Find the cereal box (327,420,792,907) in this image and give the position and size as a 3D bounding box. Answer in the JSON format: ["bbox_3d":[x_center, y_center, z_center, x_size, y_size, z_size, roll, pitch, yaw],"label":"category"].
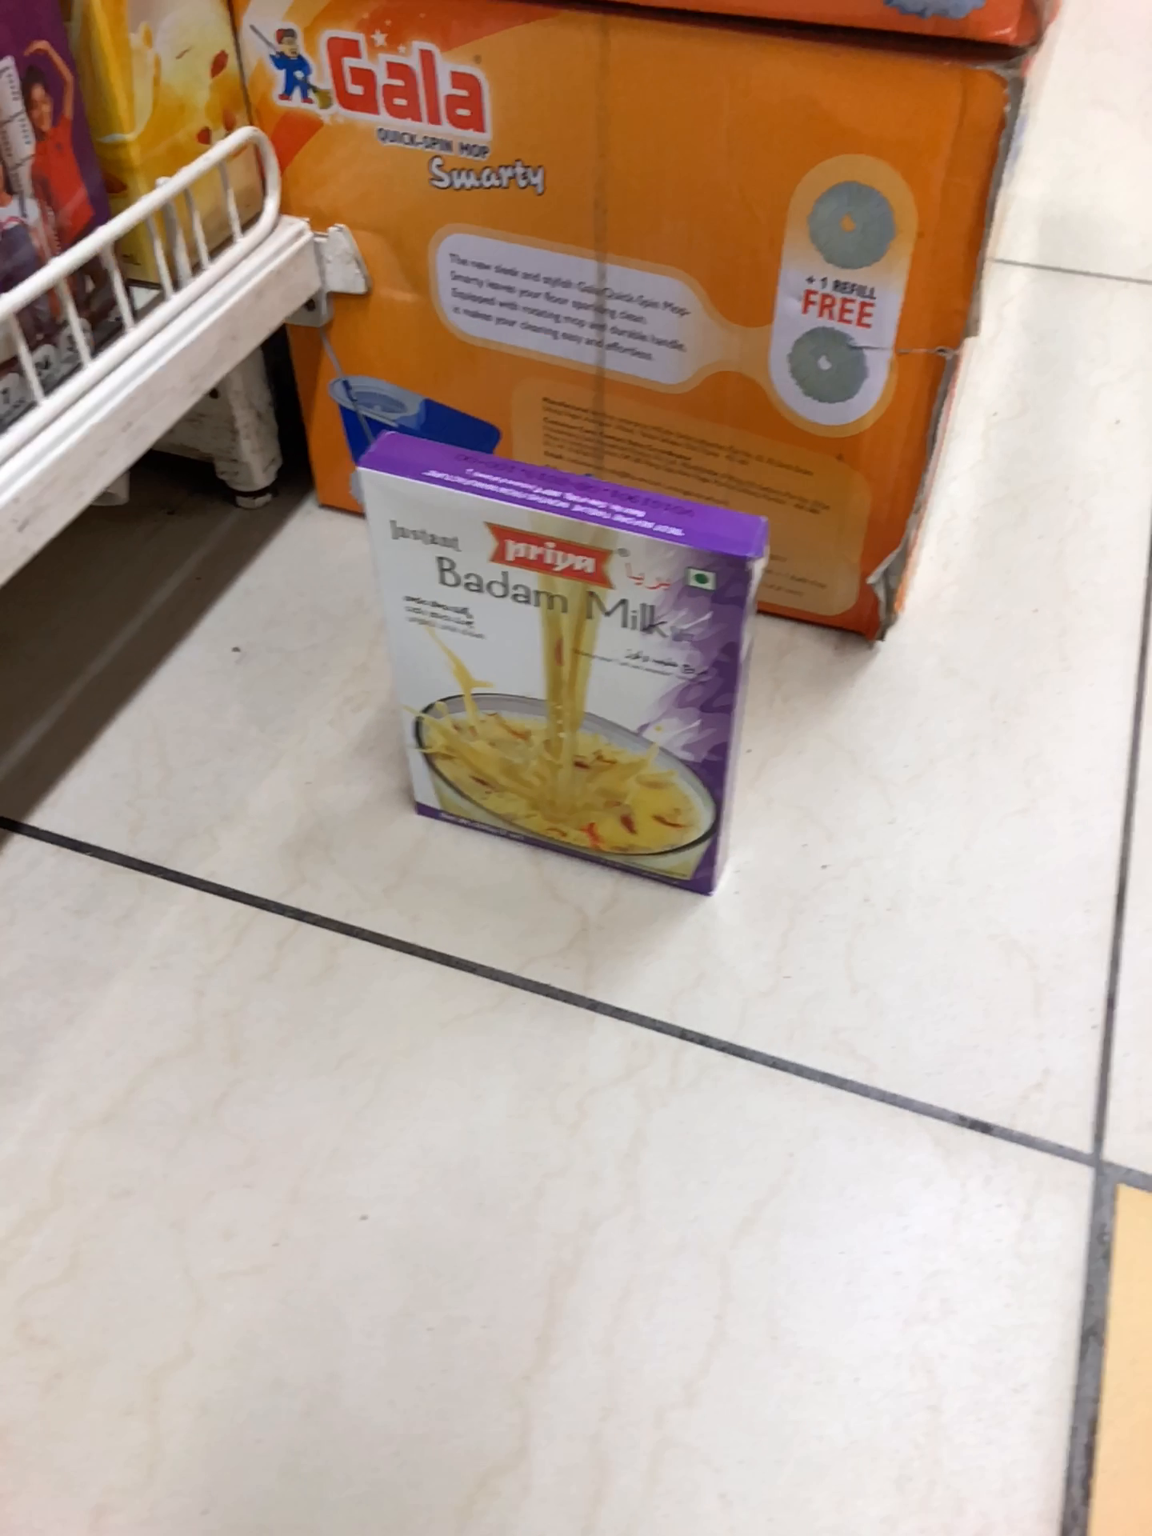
[{"bbox_3d":[-0.005,-0.029,0.417,0.130,0.149,0.030,15,49,13],"label":"cereal box"}]
